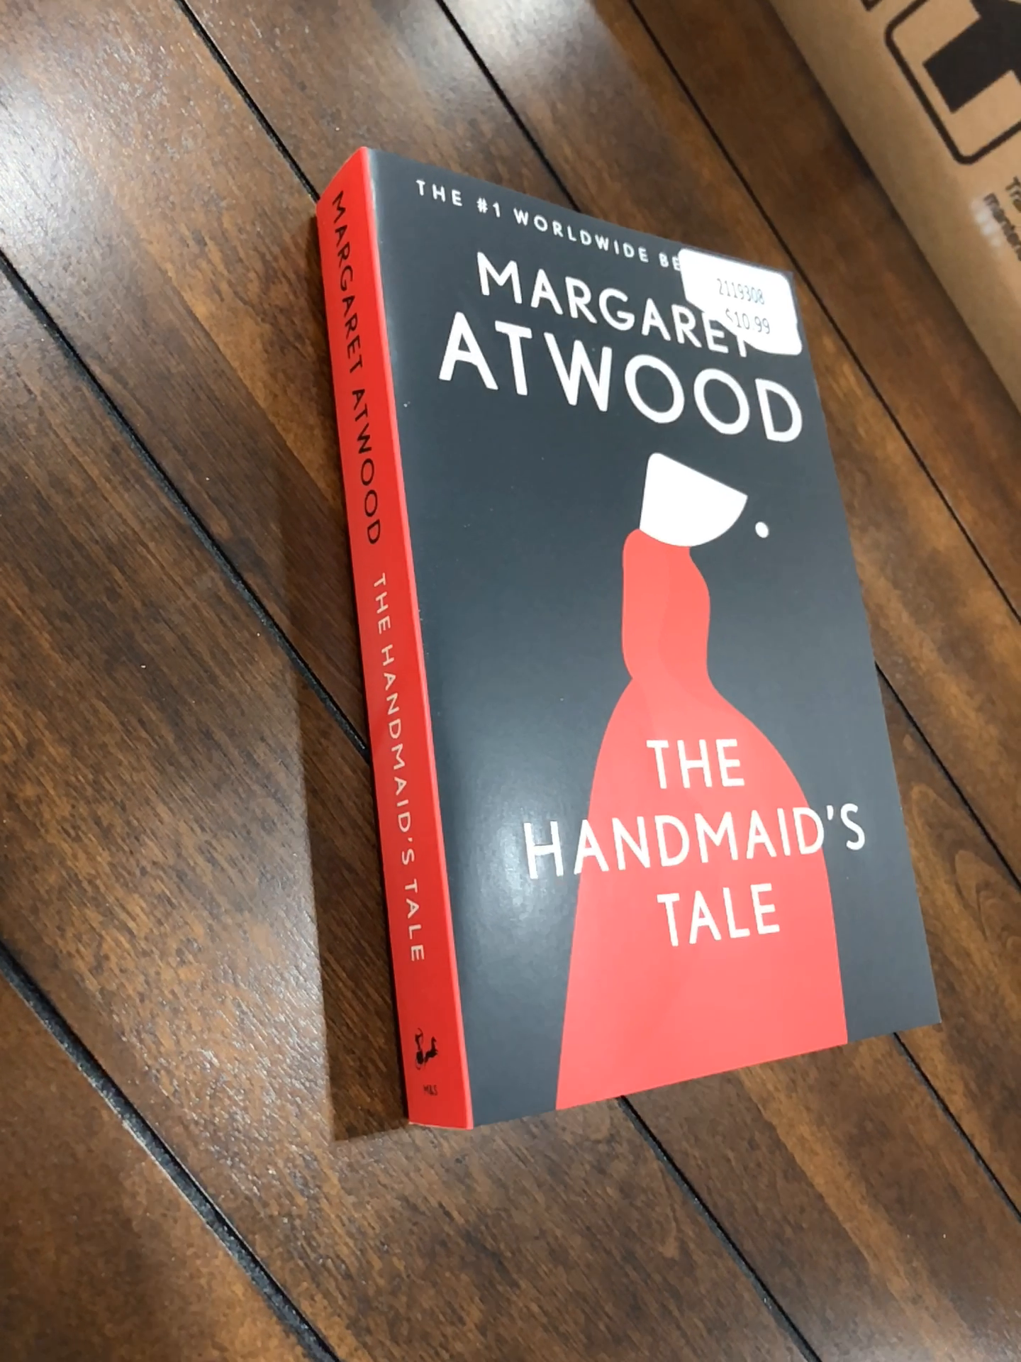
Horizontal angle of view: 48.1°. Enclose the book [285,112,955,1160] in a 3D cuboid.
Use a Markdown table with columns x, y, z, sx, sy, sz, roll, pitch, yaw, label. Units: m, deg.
| x | y | z | sx | sy | sz | roll | pitch | yaw | label |
| --- | --- | --- | --- | --- | --- | --- | --- | --- | --- |
| 0.026 | -0.014 | 0.267 | 0.138 | 0.030 | 0.207 | 2 | 74 | -34 | book |
